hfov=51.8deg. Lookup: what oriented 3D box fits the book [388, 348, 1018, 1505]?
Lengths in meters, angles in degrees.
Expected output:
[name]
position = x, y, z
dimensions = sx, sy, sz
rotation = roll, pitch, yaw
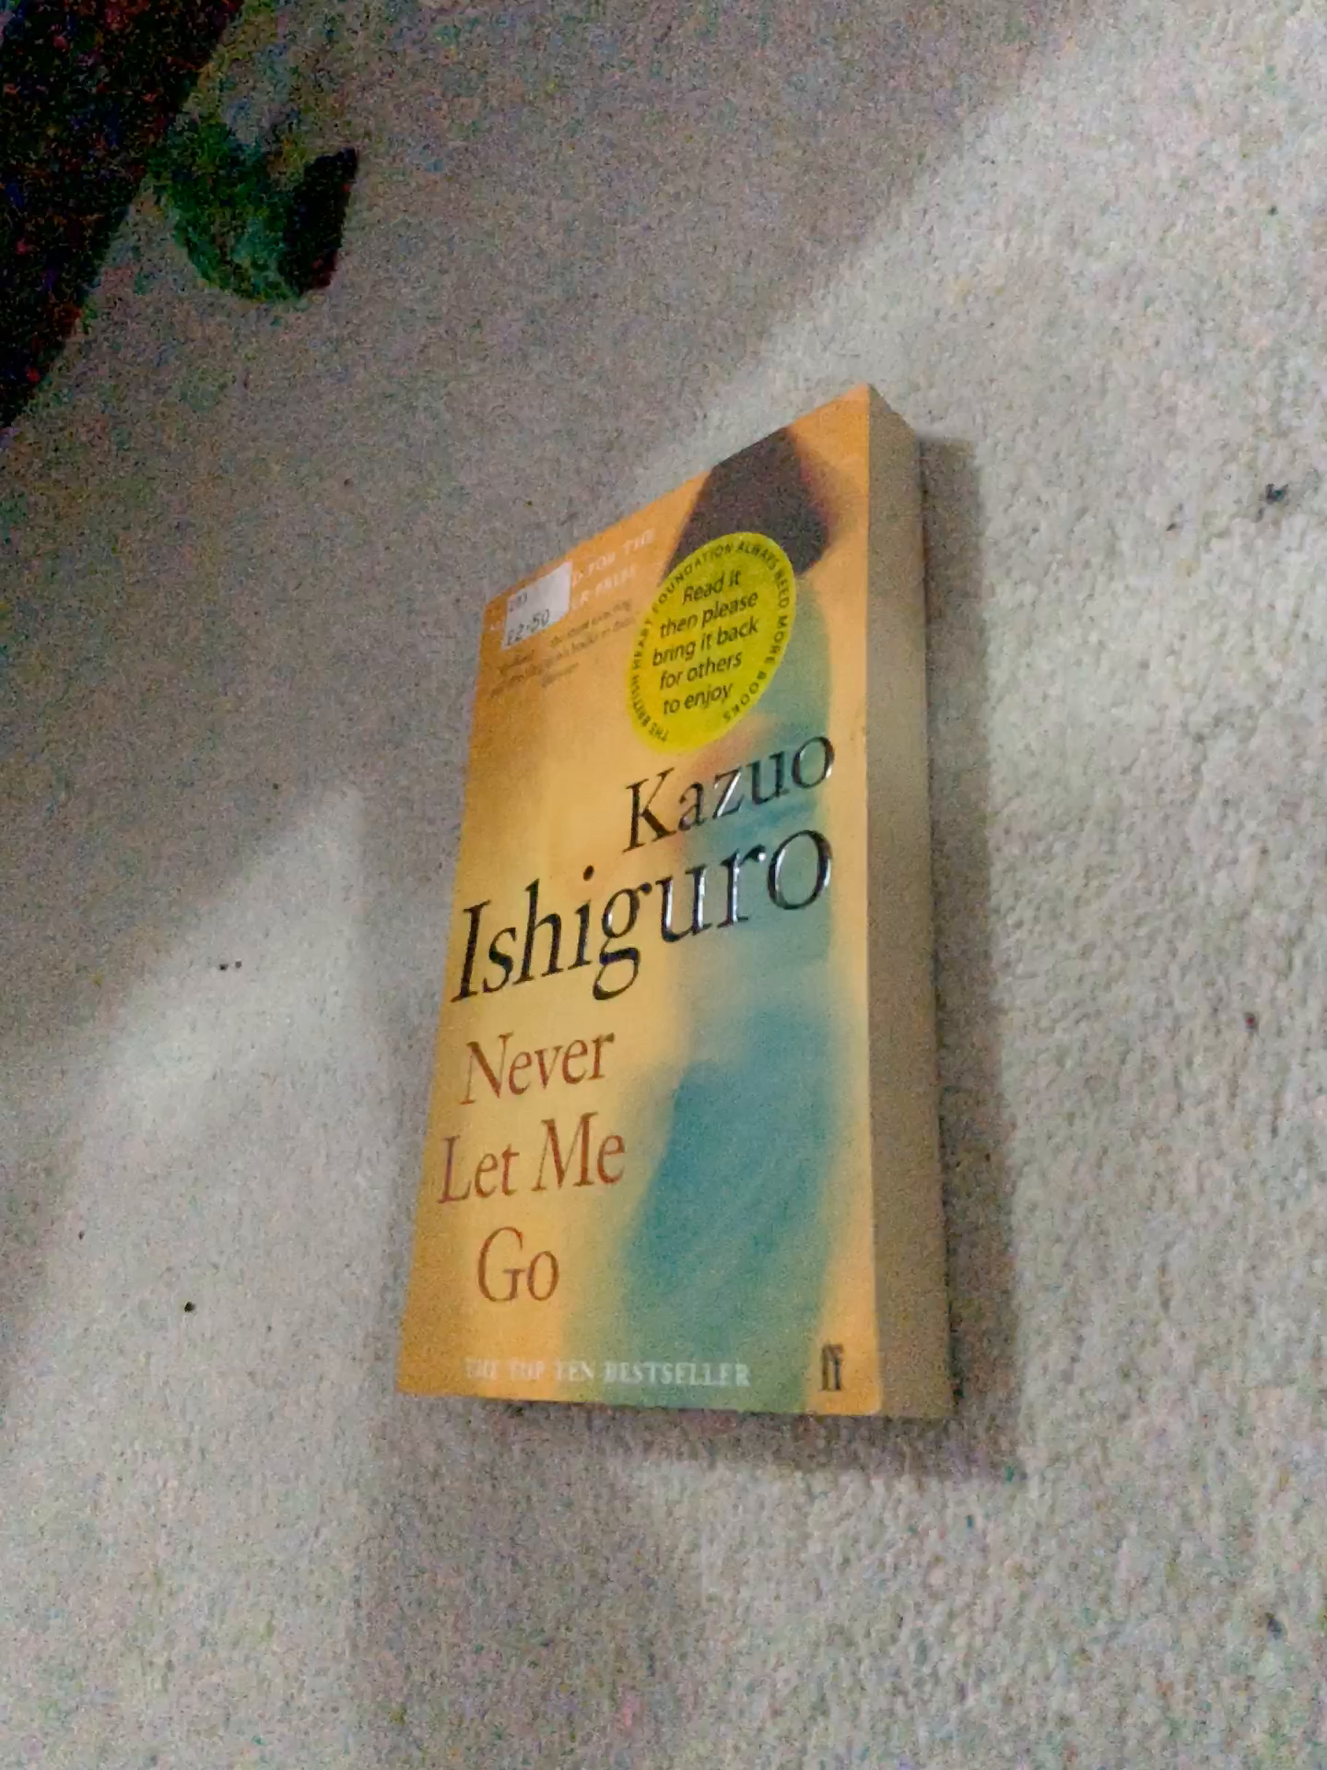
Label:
[book]
position = 0.002, 0.009, 0.288
dimensions = 0.141, 0.020, 0.211
rotation = -18, 61, 42
